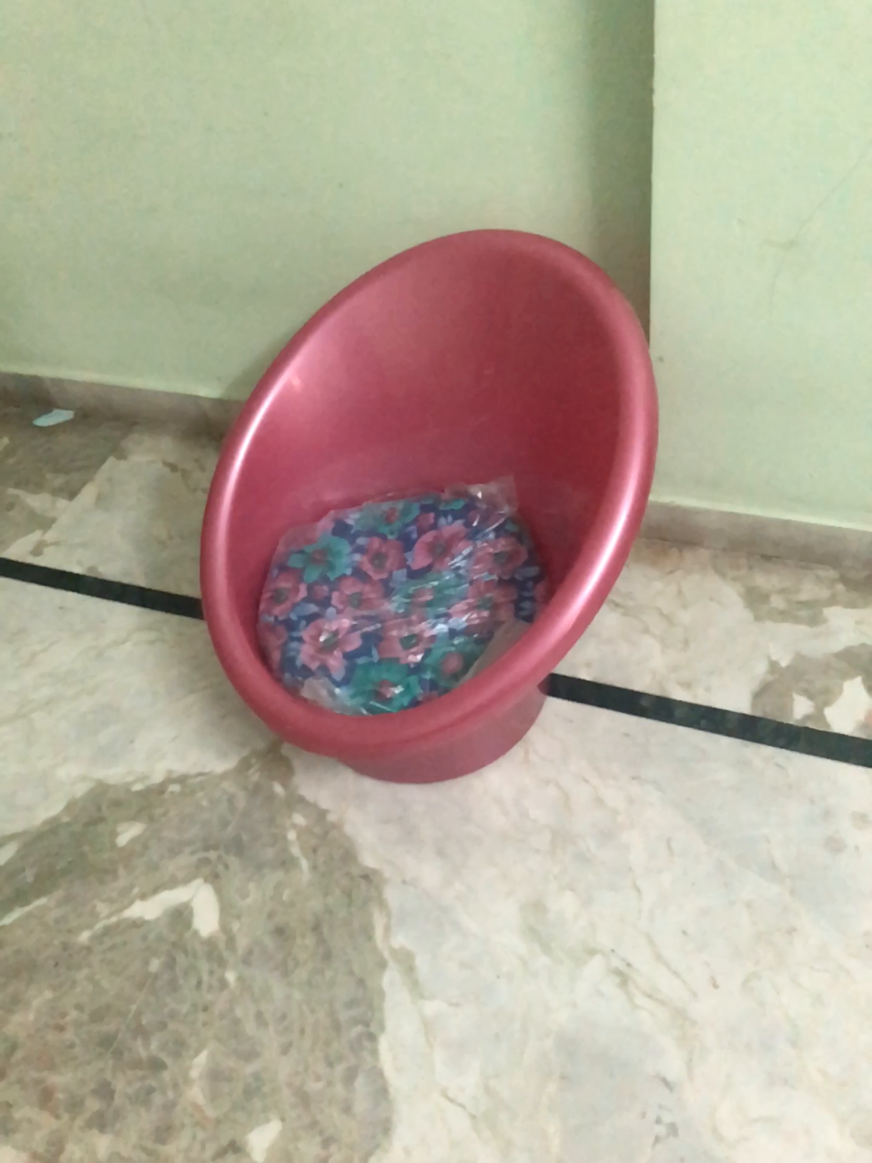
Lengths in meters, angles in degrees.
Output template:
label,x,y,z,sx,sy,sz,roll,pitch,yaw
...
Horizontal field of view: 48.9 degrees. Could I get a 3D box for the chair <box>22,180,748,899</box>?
label,x,y,z,sx,sy,sz,roll,pitch,yaw
chair,-0.044,-0.101,1.391,0.661,0.547,0.643,-39,52,-22
